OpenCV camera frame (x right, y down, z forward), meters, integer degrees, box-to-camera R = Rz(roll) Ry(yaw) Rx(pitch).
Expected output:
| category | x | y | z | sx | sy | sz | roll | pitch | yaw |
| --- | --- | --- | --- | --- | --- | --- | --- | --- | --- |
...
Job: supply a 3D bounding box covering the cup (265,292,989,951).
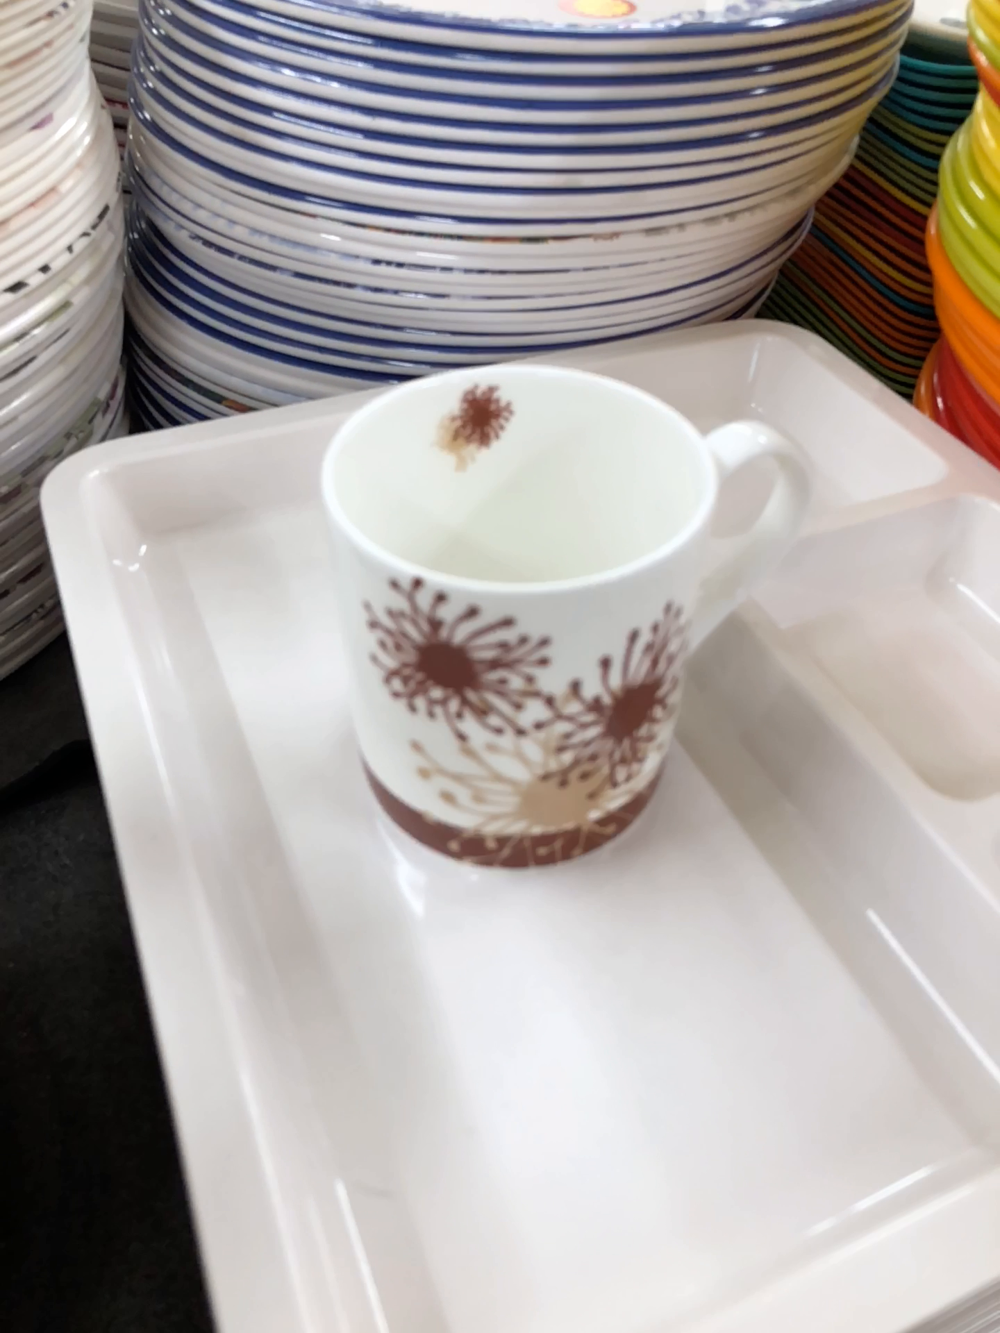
| category | x | y | z | sx | sy | sz | roll | pitch | yaw |
| --- | --- | --- | --- | --- | --- | --- | --- | --- | --- |
| cup | 0.023 | -0.015 | 0.249 | 0.120 | 0.089 | 0.080 | -19 | 48 | -22 |
